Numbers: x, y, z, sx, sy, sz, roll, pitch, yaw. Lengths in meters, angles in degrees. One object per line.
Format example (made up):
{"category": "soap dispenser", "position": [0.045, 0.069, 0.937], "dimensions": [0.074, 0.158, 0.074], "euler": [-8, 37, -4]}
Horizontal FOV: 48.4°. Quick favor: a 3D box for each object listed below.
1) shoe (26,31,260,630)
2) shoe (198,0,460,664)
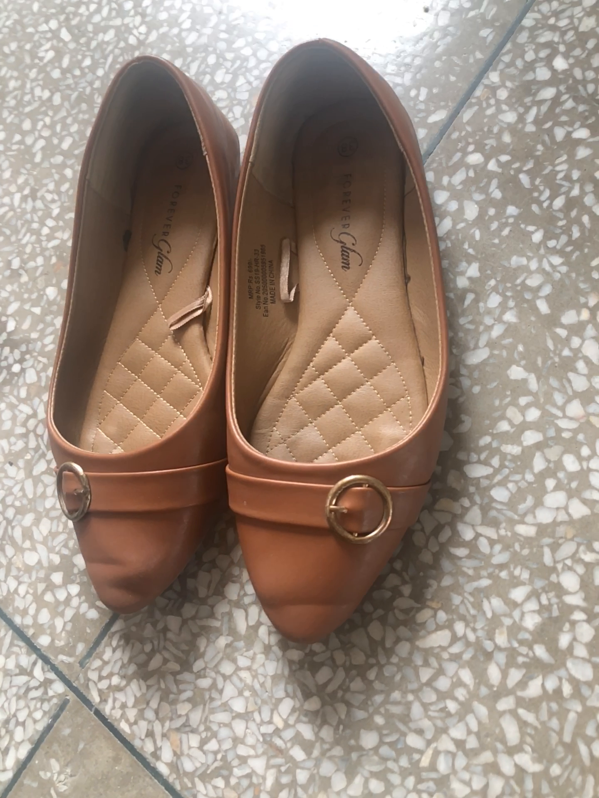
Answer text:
{"category": "shoe", "position": [-0.074, -0.028, 0.318], "dimensions": [0.090, 0.050, 0.250], "euler": [-3, 88, 23]}
{"category": "shoe", "position": [0.013, -0.029, 0.281], "dimensions": [0.090, 0.050, 0.250], "euler": [-3, 88, 23]}
